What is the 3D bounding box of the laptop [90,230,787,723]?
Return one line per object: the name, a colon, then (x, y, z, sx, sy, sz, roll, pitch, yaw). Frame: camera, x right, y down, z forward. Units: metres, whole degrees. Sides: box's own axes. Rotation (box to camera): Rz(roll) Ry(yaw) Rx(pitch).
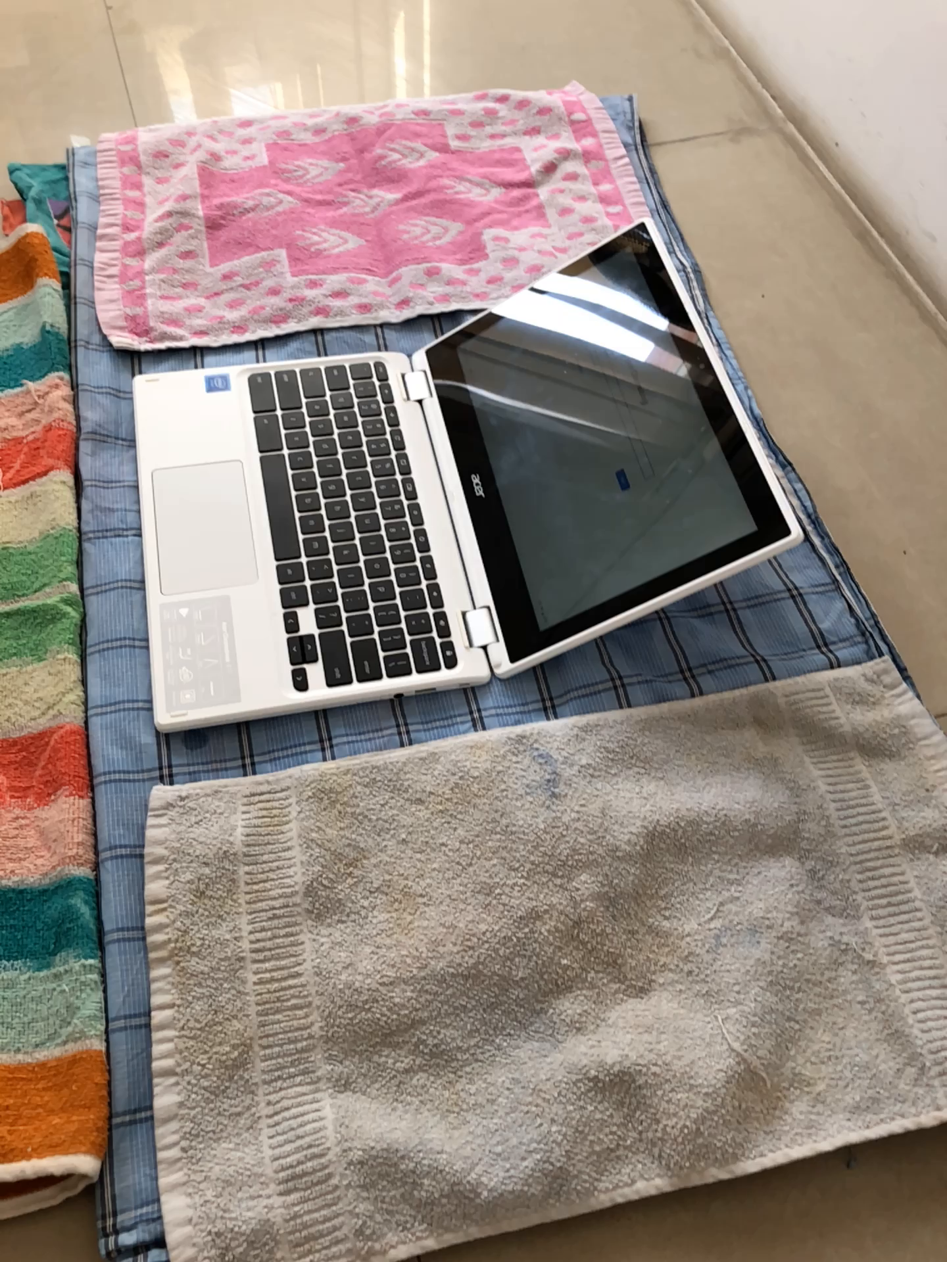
laptop: (-0.035, -0.115, 0.672, 0.367, 0.101, 0.286, -8, 59, -11)
